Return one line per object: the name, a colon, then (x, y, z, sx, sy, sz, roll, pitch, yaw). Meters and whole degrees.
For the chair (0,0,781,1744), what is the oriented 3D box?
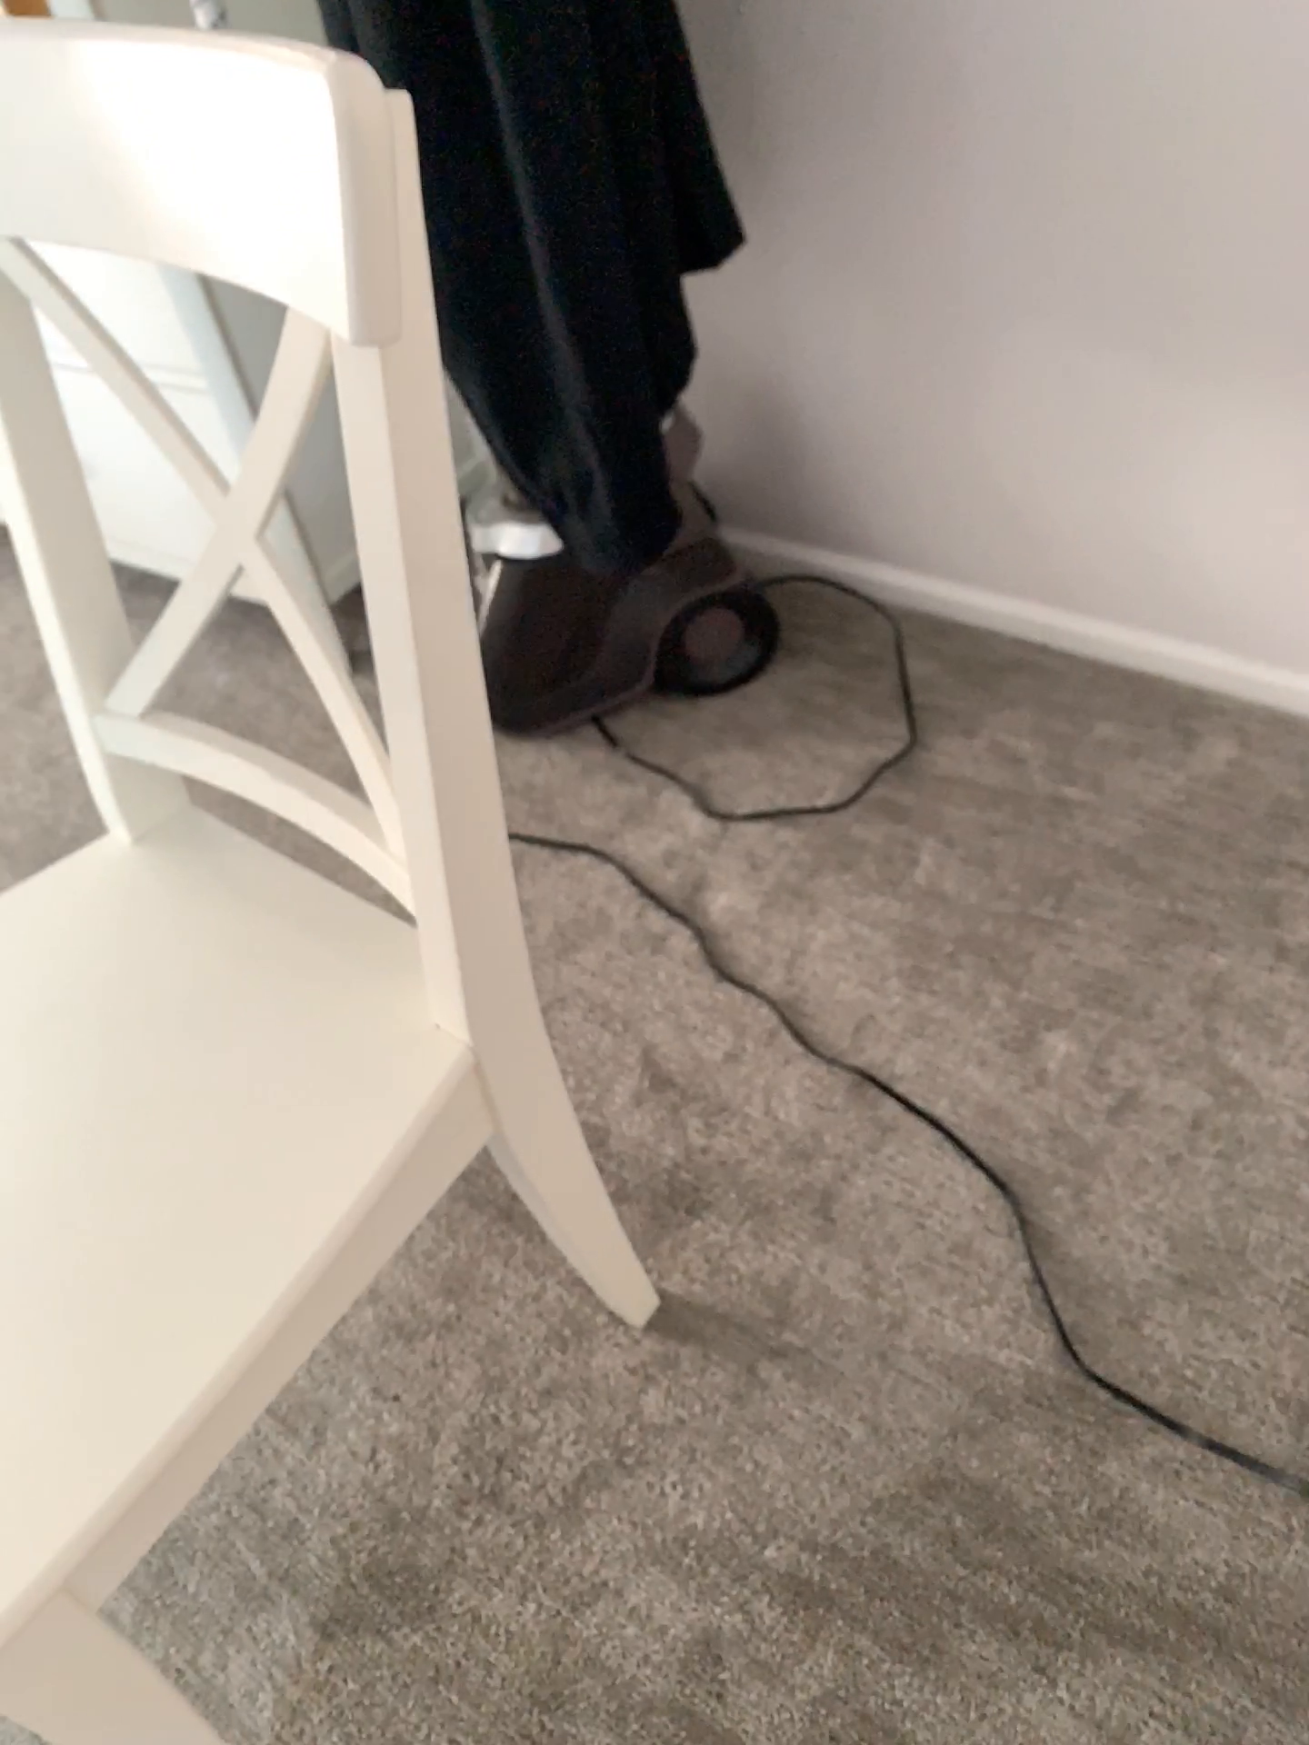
chair: (-0.383, 0.063, 0.710, 0.612, 0.766, 0.571, 24, 56, 31)
